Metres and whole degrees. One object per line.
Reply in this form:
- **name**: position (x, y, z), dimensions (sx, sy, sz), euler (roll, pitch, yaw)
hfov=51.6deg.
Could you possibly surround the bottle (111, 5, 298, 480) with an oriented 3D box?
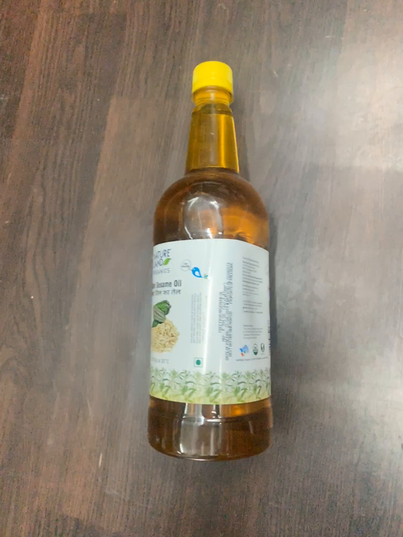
- **bottle**: position (0.004, -0.017, 0.289), dimensions (0.080, 0.090, 0.270), euler (-11, 75, 57)
